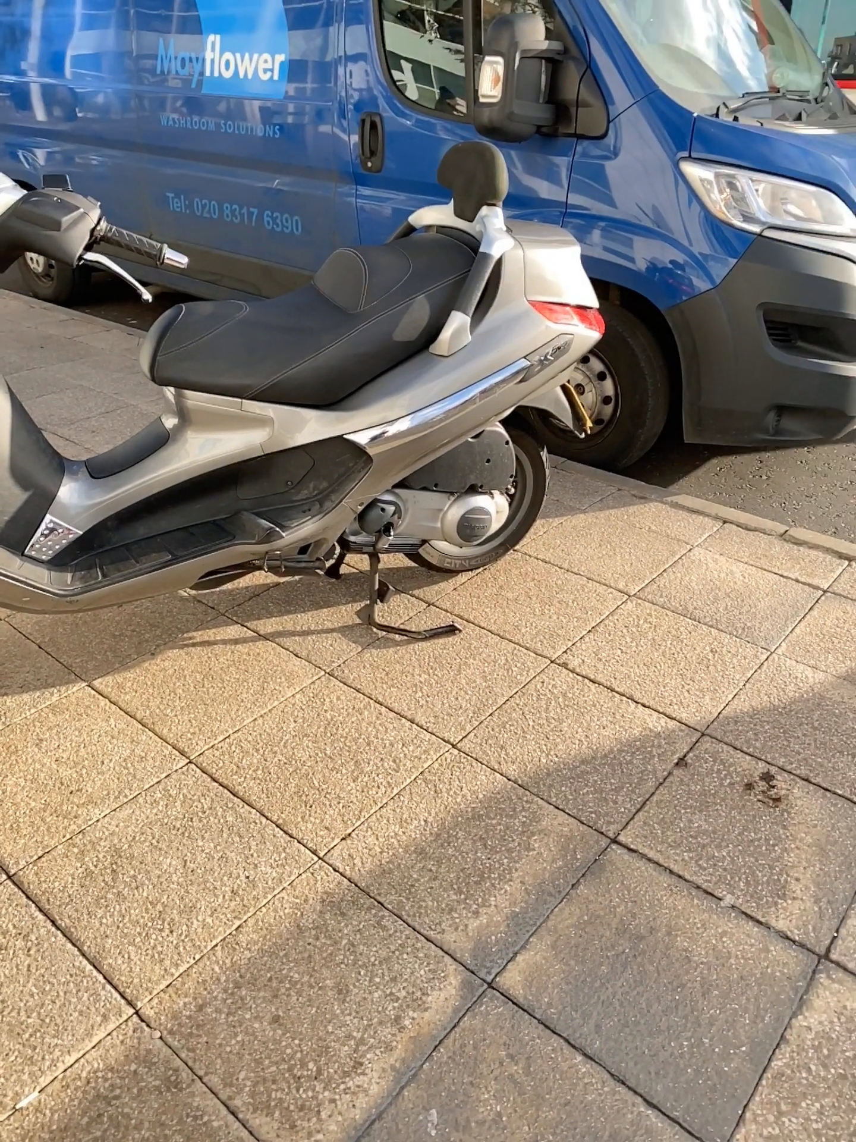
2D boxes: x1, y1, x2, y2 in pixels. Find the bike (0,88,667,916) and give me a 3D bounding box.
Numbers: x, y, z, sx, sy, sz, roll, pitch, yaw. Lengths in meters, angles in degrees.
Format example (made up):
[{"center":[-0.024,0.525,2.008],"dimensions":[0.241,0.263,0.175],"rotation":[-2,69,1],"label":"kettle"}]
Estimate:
[{"center":[-0.421,-0.306,1.674],"dimensions":[1.656,1.062,0.657],"rotation":[-17,34,-26],"label":"bike"}]
